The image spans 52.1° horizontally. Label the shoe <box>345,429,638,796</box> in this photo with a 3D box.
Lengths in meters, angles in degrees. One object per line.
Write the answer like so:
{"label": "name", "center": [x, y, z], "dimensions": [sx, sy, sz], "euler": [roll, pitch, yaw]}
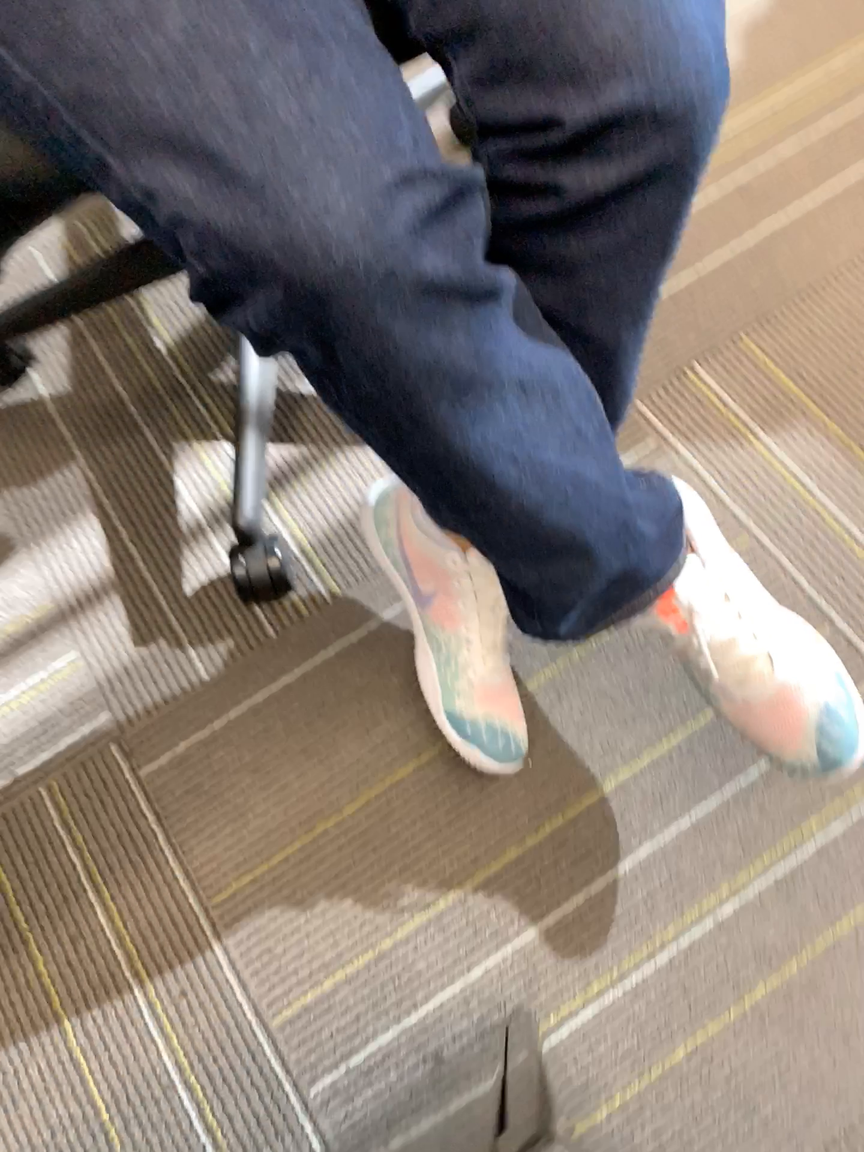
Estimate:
{"label": "shoe", "center": [0.040, 0.023, 0.768], "dimensions": [0.115, 0.109, 0.286], "euler": [-10, 64, -30]}

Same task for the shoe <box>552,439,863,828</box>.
{"label": "shoe", "center": [0.230, 0.037, 0.690], "dimensions": [0.113, 0.108, 0.265], "euler": [-15, 68, -44]}
